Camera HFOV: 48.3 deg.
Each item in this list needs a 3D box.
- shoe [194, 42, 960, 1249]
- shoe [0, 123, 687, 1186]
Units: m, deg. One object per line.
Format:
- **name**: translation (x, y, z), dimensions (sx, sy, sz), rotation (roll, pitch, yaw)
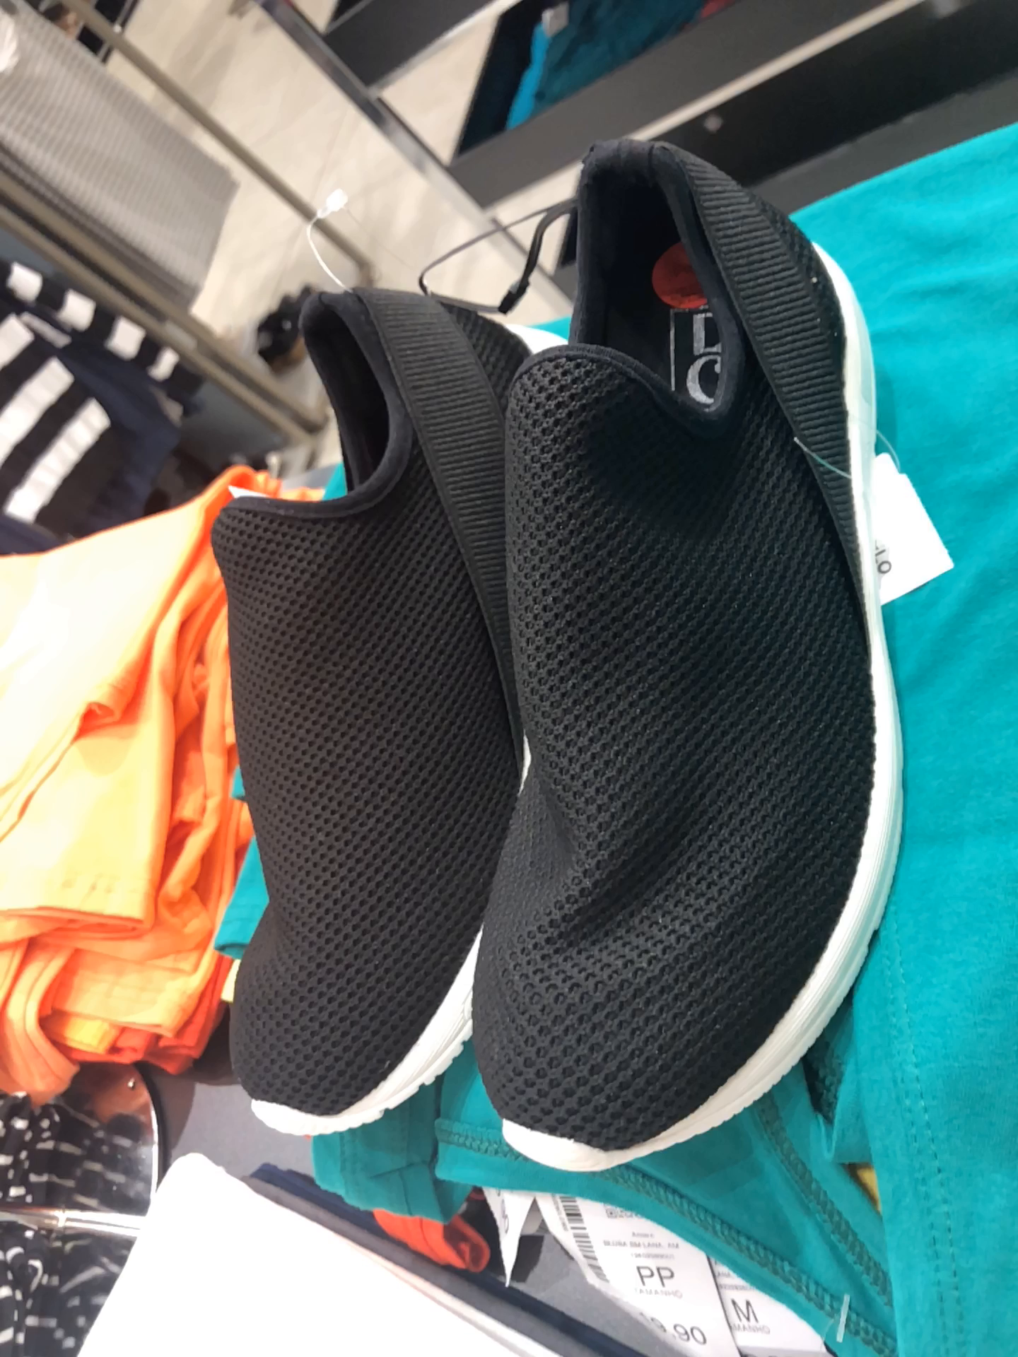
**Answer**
- **shoe**: translation (0.035, -0.007, 0.281), dimensions (0.090, 0.119, 0.240), rotation (-8, 59, 42)
- **shoe**: translation (-0.035, -0.005, 0.334), dimensions (0.090, 0.119, 0.260), rotation (-8, 63, 42)
